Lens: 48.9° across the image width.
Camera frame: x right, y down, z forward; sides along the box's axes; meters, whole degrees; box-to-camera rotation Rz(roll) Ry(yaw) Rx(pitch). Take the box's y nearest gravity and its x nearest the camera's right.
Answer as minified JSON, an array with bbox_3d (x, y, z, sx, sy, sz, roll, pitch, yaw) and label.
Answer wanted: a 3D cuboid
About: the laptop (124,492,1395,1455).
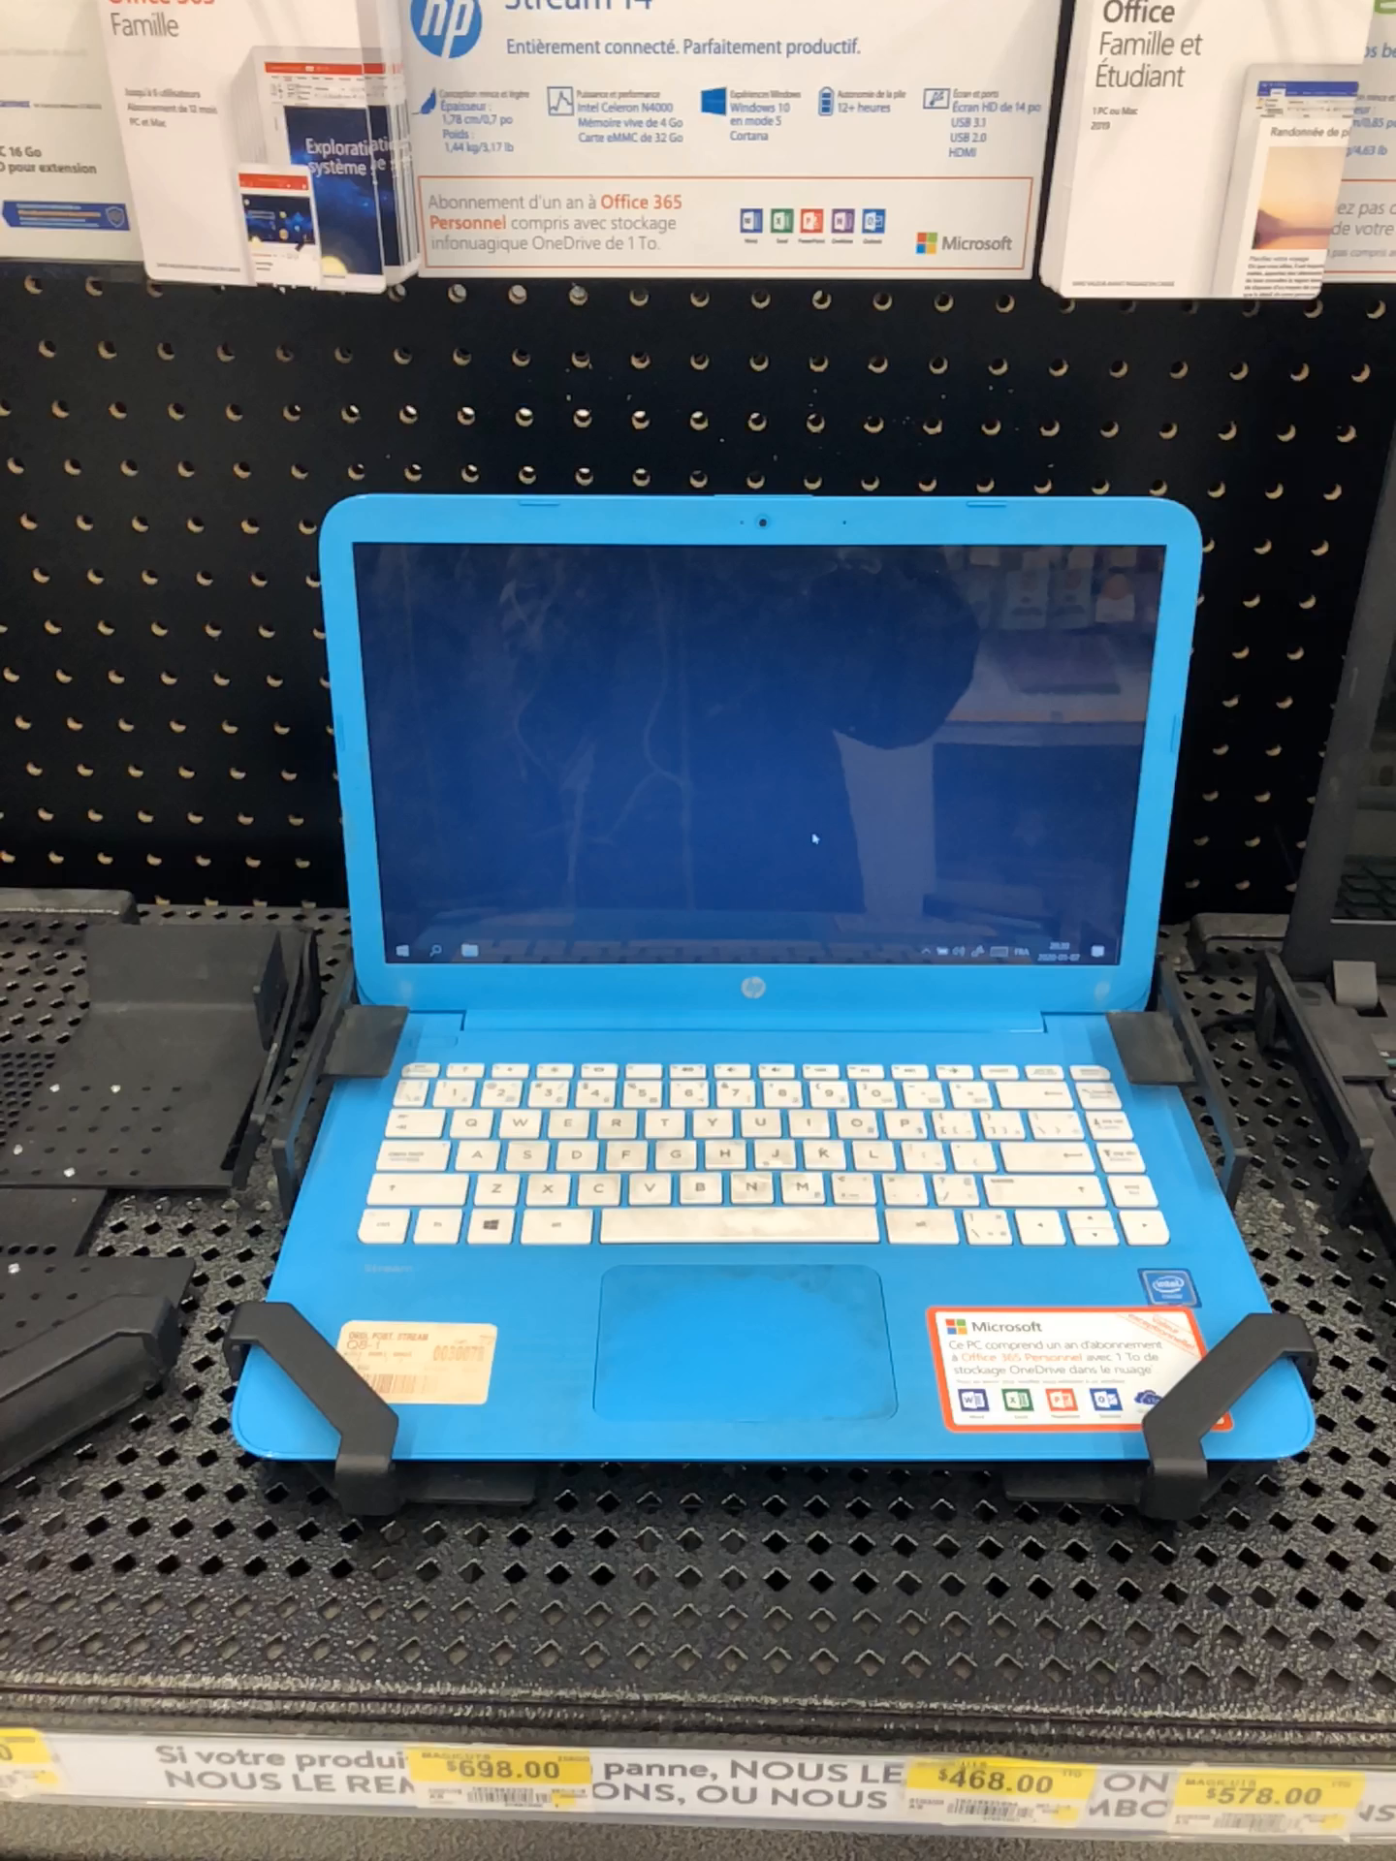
[{"bbox_3d":[0.022,-0.005,0.522,0.318,0.197,0.270,0,34,1],"label":"laptop"}]
